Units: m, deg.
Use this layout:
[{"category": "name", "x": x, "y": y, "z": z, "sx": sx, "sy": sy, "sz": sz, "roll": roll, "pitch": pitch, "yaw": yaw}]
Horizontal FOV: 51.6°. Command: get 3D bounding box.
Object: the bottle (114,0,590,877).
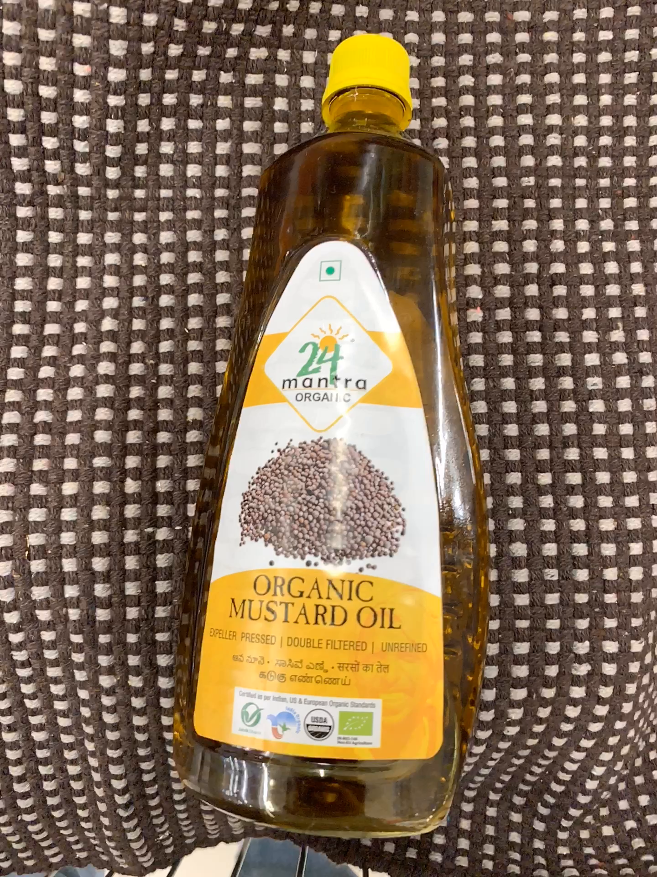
[{"category": "bottle", "x": 0.008, "y": -0.008, "z": 0.217, "sx": 0.110, "sy": 0.060, "sz": 0.250, "roll": 5, "pitch": 91, "yaw": 9}]
